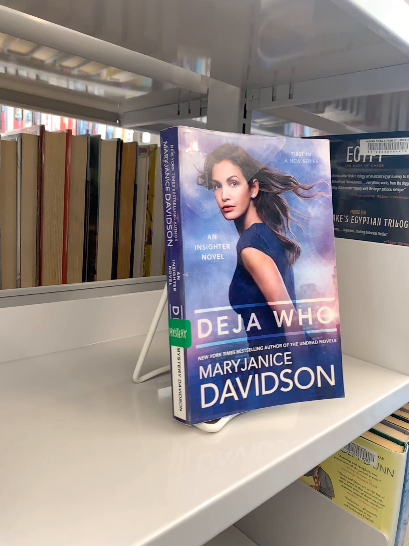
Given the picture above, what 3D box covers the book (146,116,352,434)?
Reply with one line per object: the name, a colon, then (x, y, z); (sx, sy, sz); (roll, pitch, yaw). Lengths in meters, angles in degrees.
book: (0.034, -0.002, 0.305); (0.136, 0.190, 0.047); (-2, -2, -28)
